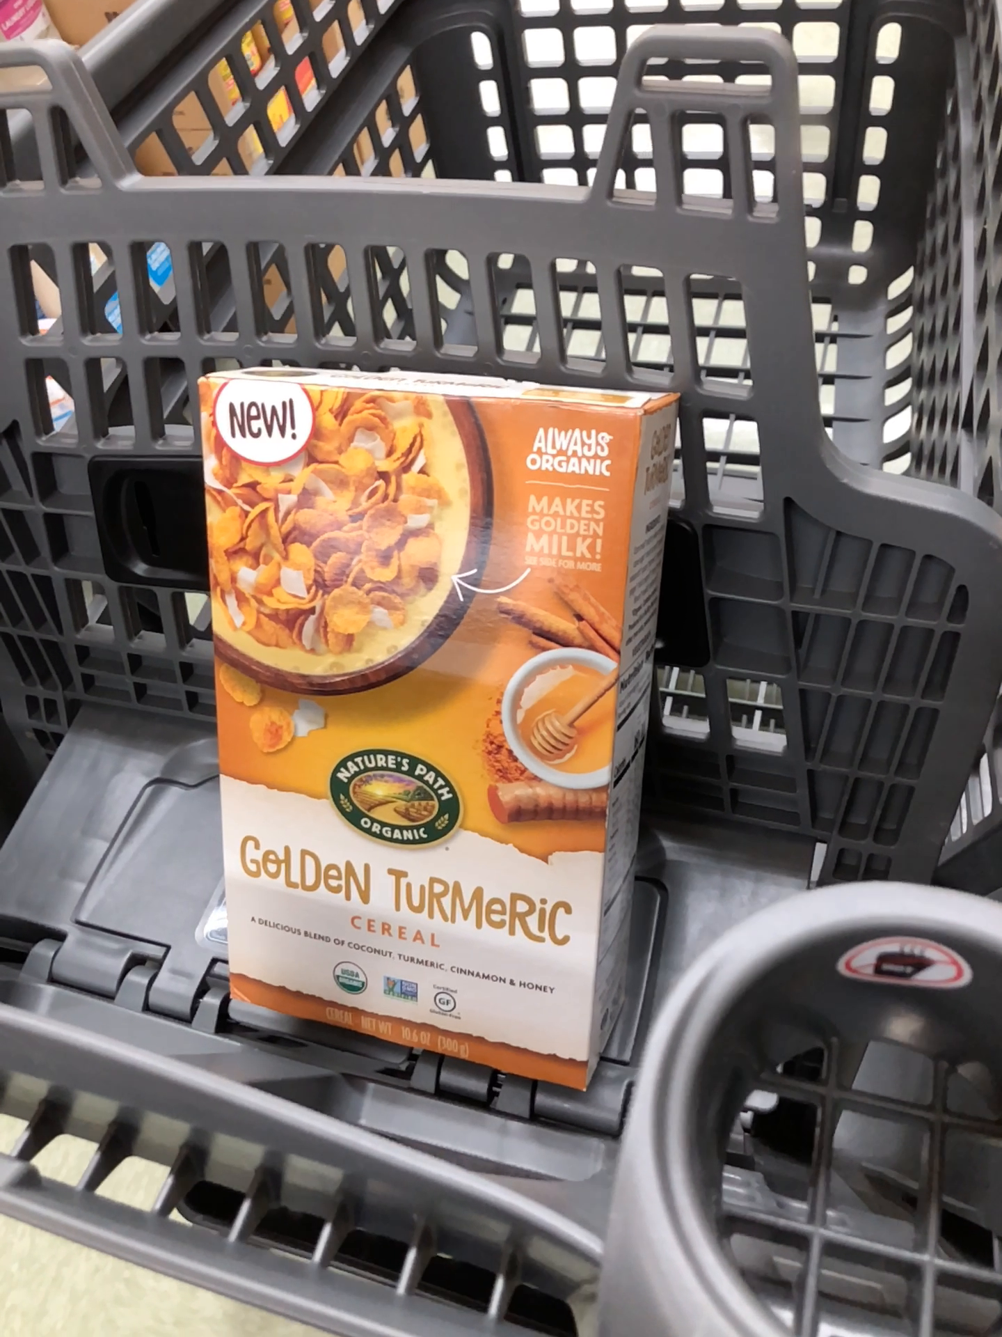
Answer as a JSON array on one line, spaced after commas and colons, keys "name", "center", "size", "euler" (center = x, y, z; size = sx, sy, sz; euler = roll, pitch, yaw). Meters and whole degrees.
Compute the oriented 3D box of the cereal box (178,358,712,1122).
[{"name": "cereal box", "center": [-0.026, 0.022, 0.440], "size": [0.180, 0.270, 0.070], "euler": [8, 18, 17]}]
